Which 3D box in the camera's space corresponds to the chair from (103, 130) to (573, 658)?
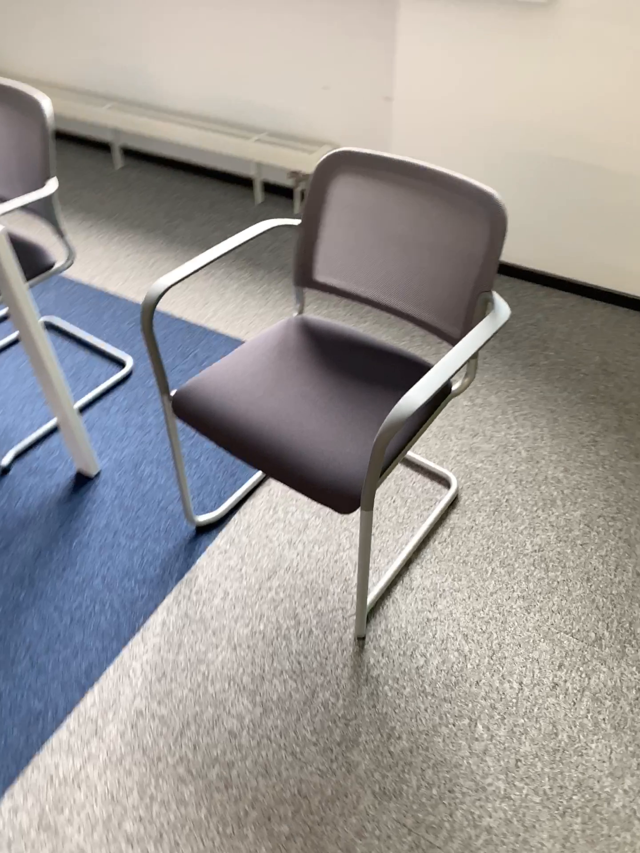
[{"bbox_3d":[0.043,-0.068,1.282,0.531,0.726,0.522,29,52,27],"label":"chair"}]
